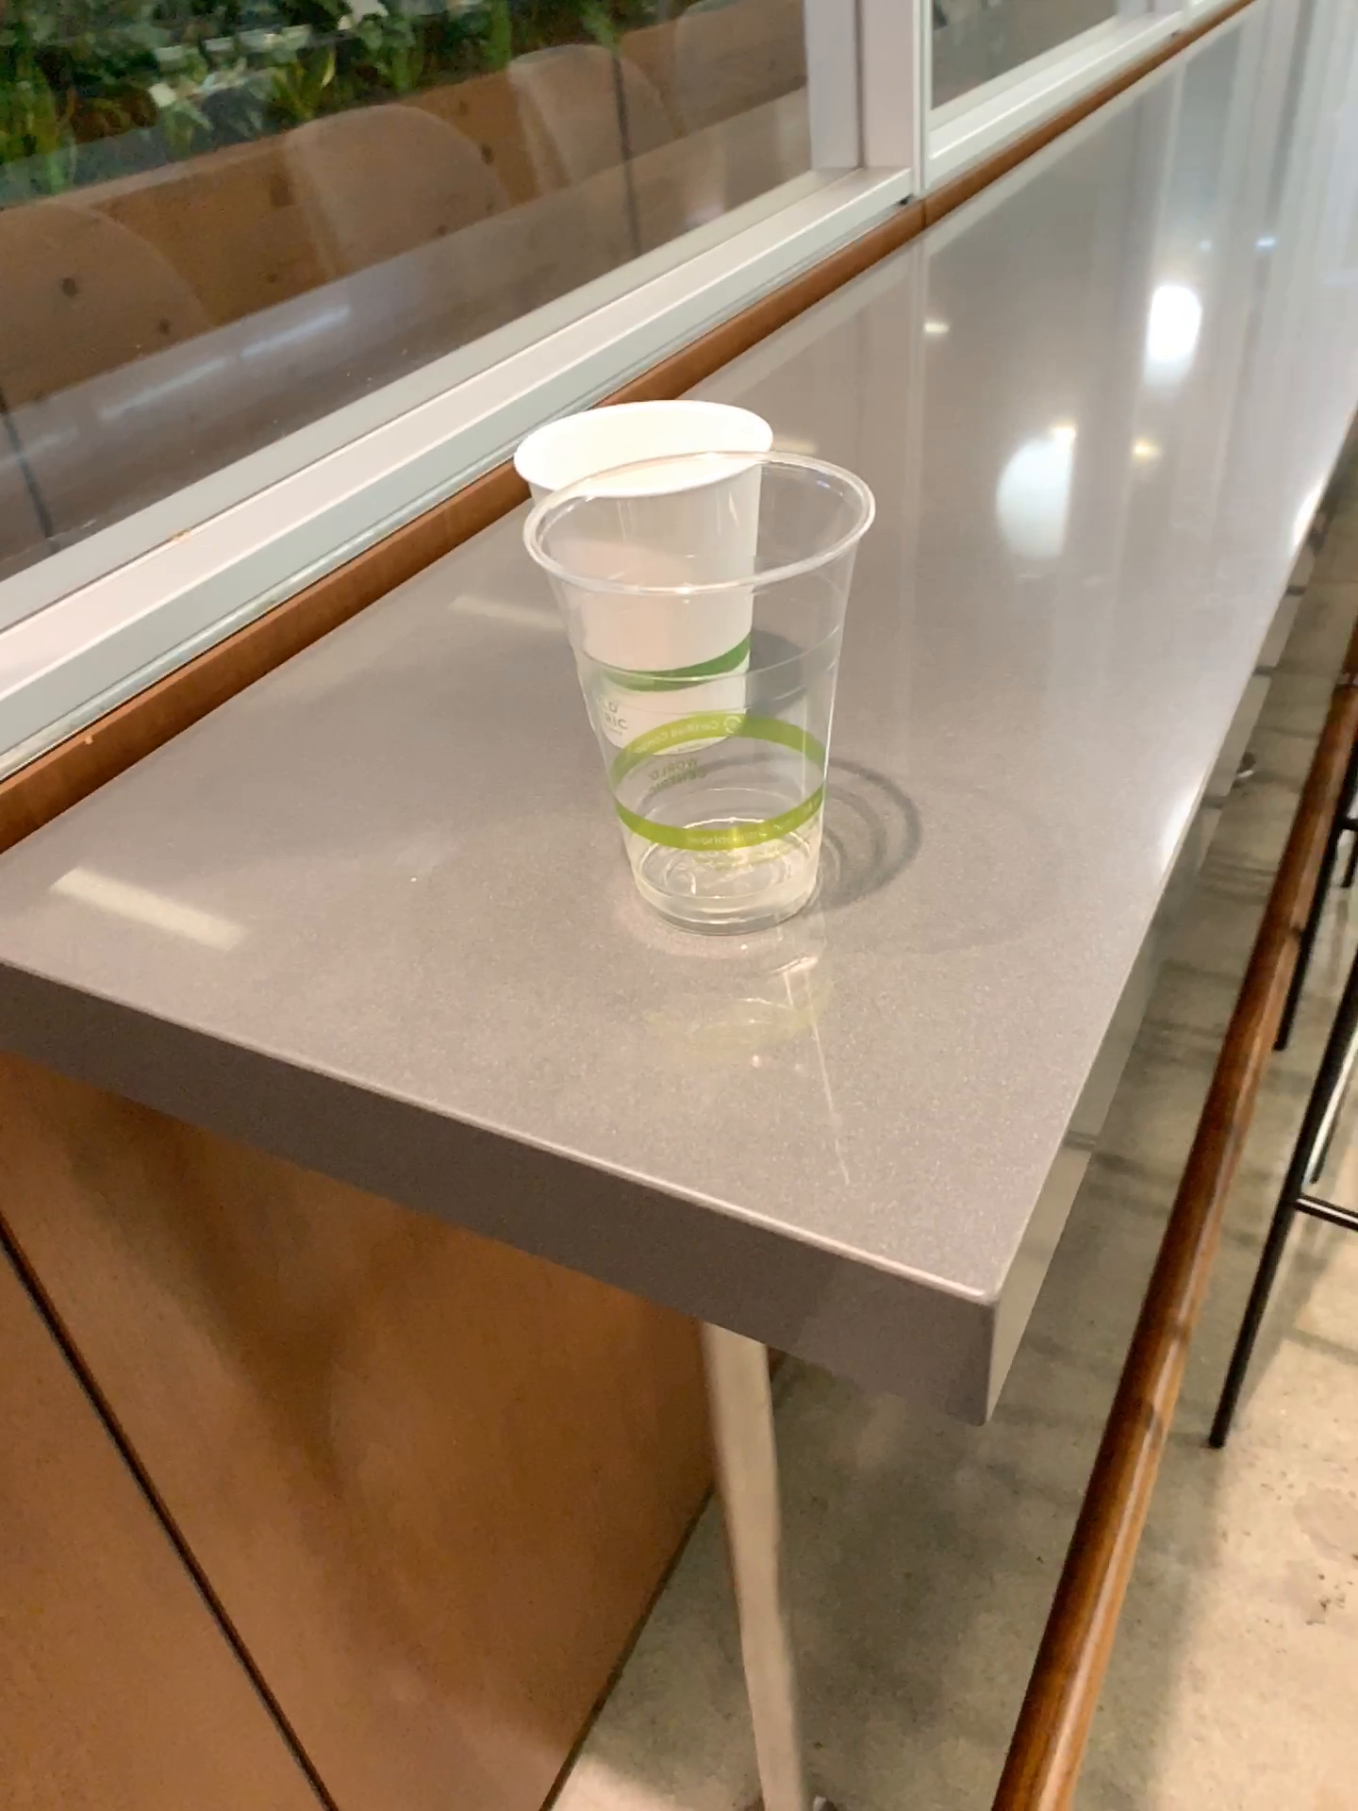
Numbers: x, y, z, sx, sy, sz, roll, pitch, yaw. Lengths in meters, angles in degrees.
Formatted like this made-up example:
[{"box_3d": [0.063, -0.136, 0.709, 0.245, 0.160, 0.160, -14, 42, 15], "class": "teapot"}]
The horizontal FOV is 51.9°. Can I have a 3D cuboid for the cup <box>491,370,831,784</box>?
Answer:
[{"box_3d": [-0.005, -0.122, 0.511, 0.090, 0.109, 0.081, -18, 38, -15], "class": "cup"}]

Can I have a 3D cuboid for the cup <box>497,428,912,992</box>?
[{"box_3d": [0.008, -0.058, 0.406, 0.090, 0.119, 0.091, -4, 36, 3], "class": "cup"}]
